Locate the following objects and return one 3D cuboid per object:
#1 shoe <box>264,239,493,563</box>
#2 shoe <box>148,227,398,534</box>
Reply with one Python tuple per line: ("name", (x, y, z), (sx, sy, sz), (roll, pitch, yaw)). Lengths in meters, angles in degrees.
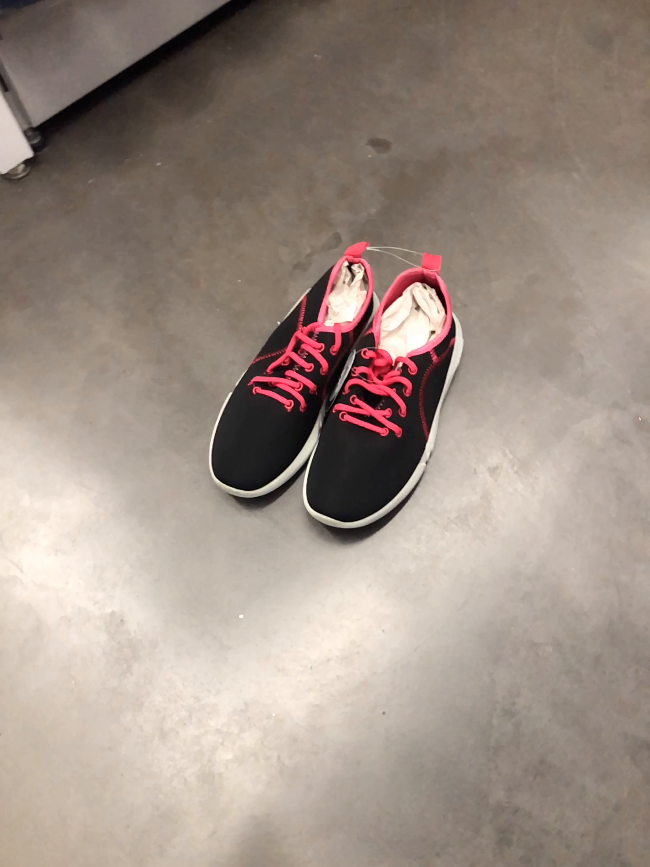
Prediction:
("shoe", (0.048, -0.030, 0.581), (0.100, 0.090, 0.231), (19, 66, 11))
("shoe", (-0.034, -0.048, 0.611), (0.100, 0.090, 0.231), (24, 68, 13))
